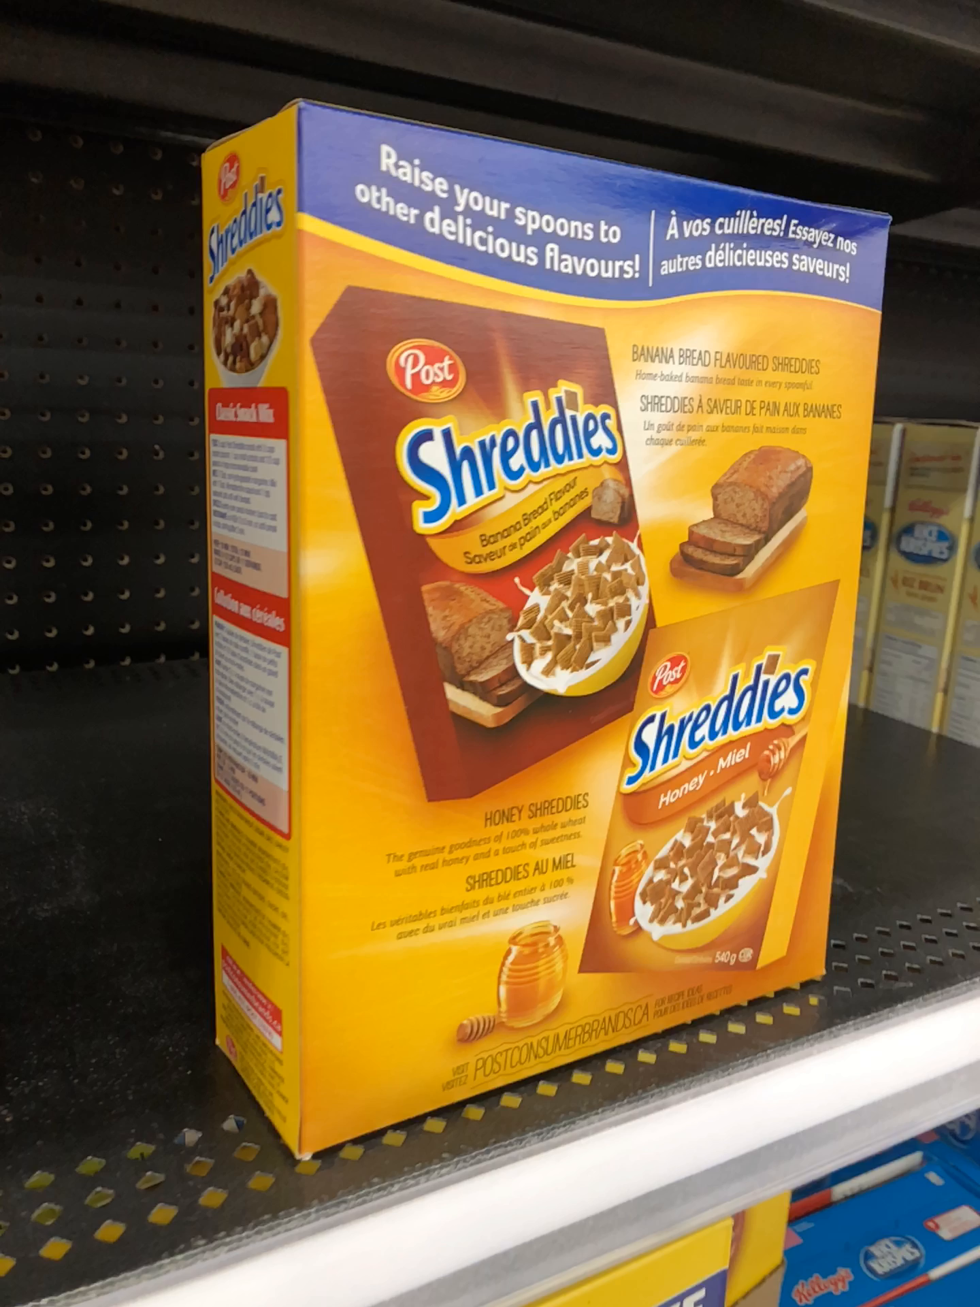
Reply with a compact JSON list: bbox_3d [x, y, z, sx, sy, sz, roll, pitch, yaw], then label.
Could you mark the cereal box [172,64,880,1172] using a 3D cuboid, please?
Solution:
[{"bbox_3d":[0.017,-0.010,0.342,0.210,0.269,0.060,-5,13,-33],"label":"cereal box"}]
